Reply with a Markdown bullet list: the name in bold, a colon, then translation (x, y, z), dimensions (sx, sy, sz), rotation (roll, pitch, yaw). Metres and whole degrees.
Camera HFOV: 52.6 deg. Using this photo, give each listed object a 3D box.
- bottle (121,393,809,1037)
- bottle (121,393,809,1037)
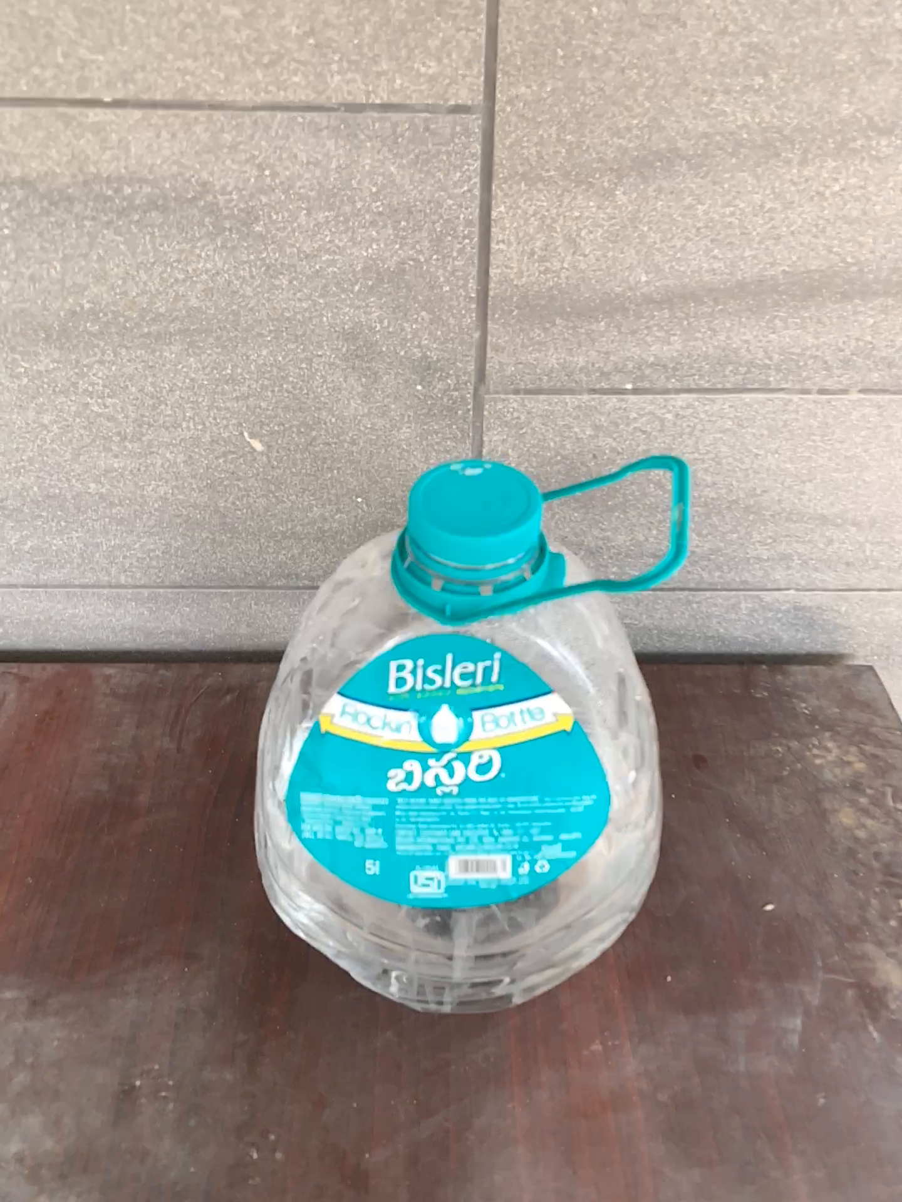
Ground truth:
- **bottle**: translation (0.004, 0.051, 0.405), dimensions (0.200, 0.219, 0.181), rotation (1, 40, 0)
- **bottle**: translation (0.004, 0.051, 0.405), dimensions (0.200, 0.219, 0.181), rotation (1, 40, 0)
